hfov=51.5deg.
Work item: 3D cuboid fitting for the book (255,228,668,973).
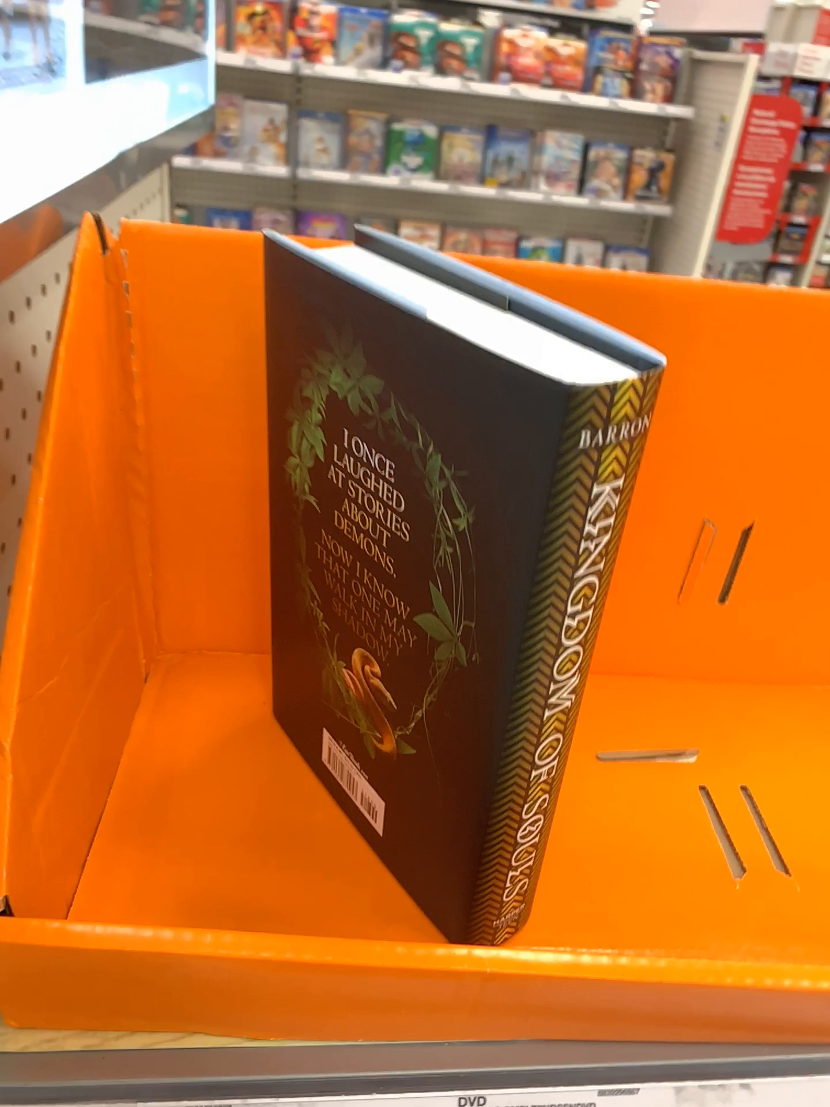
[{"bbox_3d":[-0.003,0.019,0.333,0.040,0.240,0.161,-18,39,-31],"label":"book"}]
